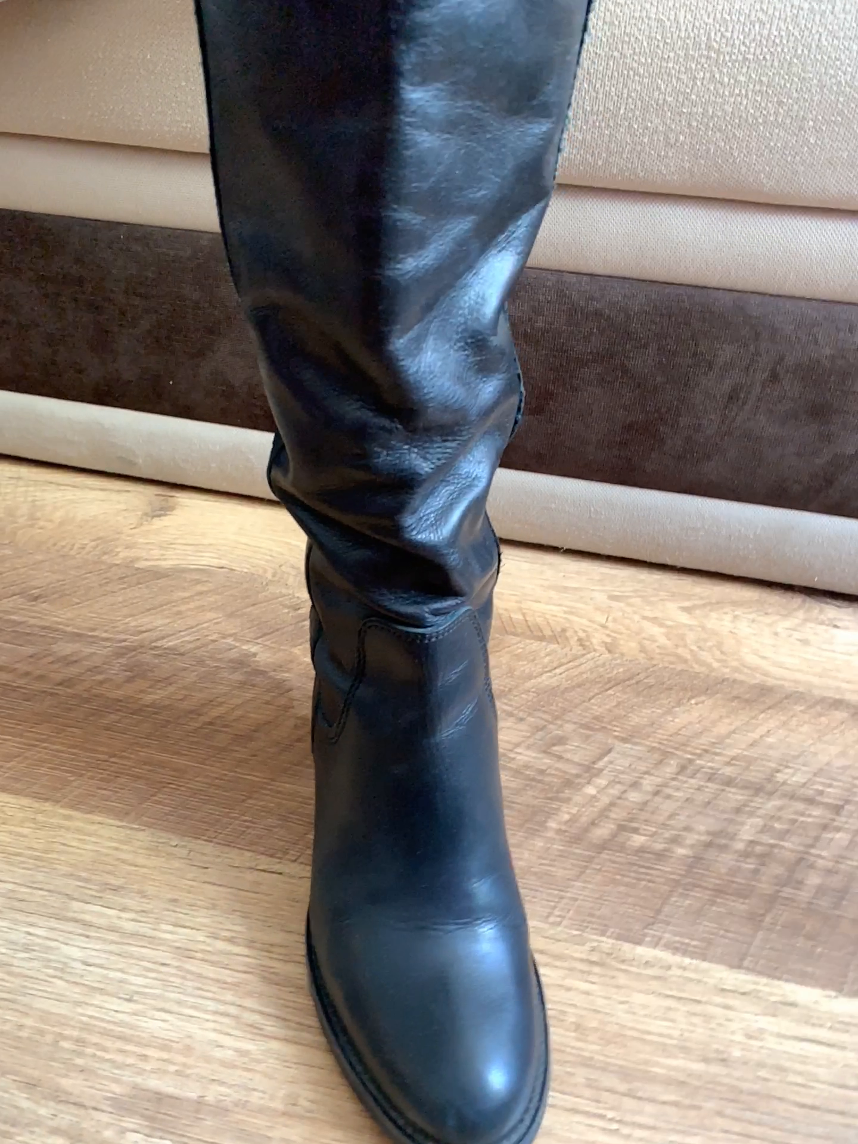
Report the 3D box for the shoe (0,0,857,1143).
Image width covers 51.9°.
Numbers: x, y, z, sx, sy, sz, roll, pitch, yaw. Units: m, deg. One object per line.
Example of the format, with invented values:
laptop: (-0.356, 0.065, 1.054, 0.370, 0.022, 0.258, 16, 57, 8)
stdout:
shoe: (0.002, -0.073, 0.224, 0.100, 0.497, 0.211, -4, 34, -10)
